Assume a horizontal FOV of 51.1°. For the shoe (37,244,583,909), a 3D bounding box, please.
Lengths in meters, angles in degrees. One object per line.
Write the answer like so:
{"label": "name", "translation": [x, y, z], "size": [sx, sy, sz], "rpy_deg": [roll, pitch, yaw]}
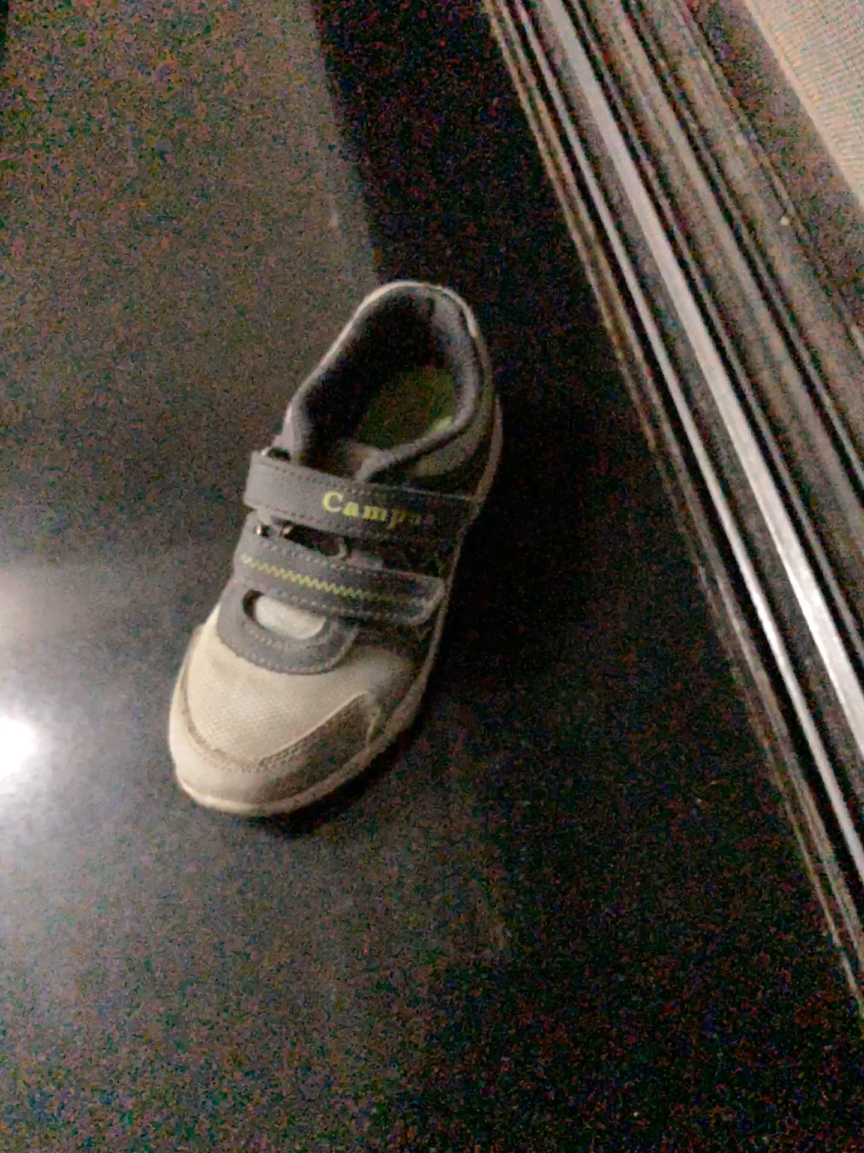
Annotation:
{"label": "shoe", "translation": [-0.031, -0.005, 0.351], "size": [0.090, 0.080, 0.231], "rpy_deg": [23, 70, 16]}
